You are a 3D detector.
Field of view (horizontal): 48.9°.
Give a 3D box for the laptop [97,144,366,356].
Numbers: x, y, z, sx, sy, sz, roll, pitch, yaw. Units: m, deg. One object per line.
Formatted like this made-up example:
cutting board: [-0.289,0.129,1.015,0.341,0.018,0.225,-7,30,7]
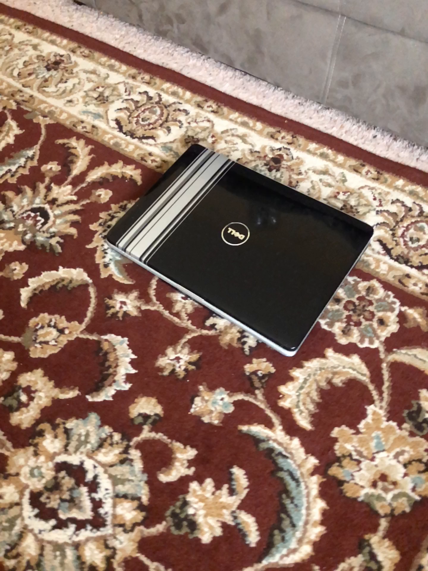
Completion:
laptop: [0.024,-0.078,0.752,0.351,0.015,0.242,31,68,20]
